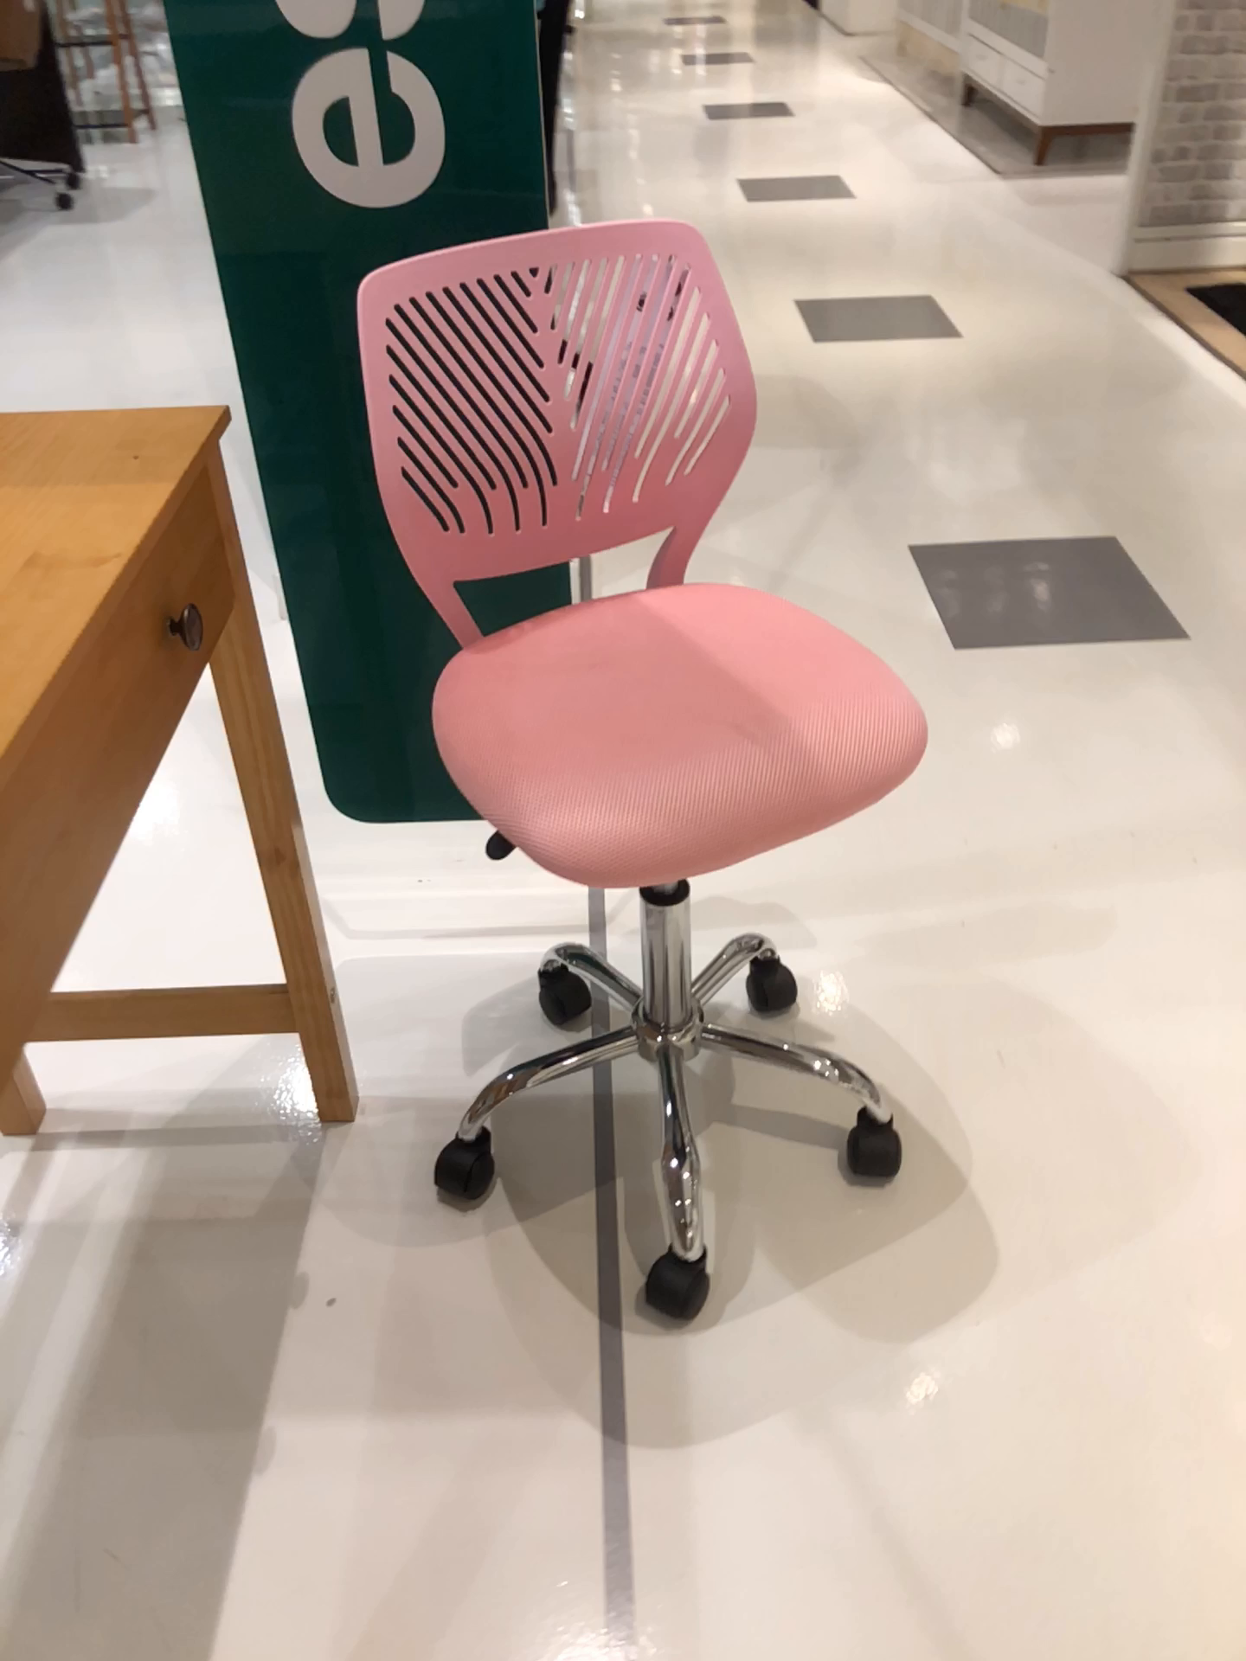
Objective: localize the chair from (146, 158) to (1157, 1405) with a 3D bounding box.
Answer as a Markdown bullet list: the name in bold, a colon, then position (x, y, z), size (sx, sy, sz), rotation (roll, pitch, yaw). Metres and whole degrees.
- **chair**: position (0.012, -0.065, 1.204), size (0.502, 0.833, 0.523), rotation (-24, 41, -27)
